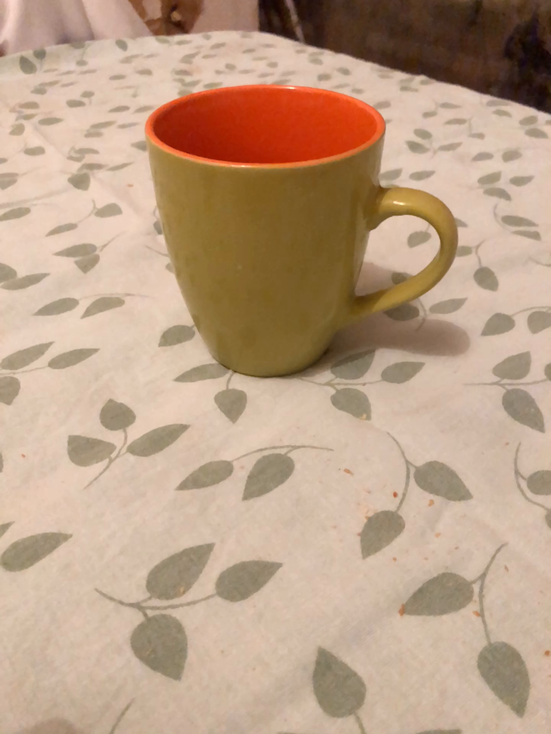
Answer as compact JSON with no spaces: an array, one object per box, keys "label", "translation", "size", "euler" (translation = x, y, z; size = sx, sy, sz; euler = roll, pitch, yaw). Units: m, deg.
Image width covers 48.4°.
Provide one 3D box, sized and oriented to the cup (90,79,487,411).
[{"label":"cup","translation":[0.010,-0.053,0.246],"size":[0.120,0.089,0.091],"euler":[6,40,8]}]
